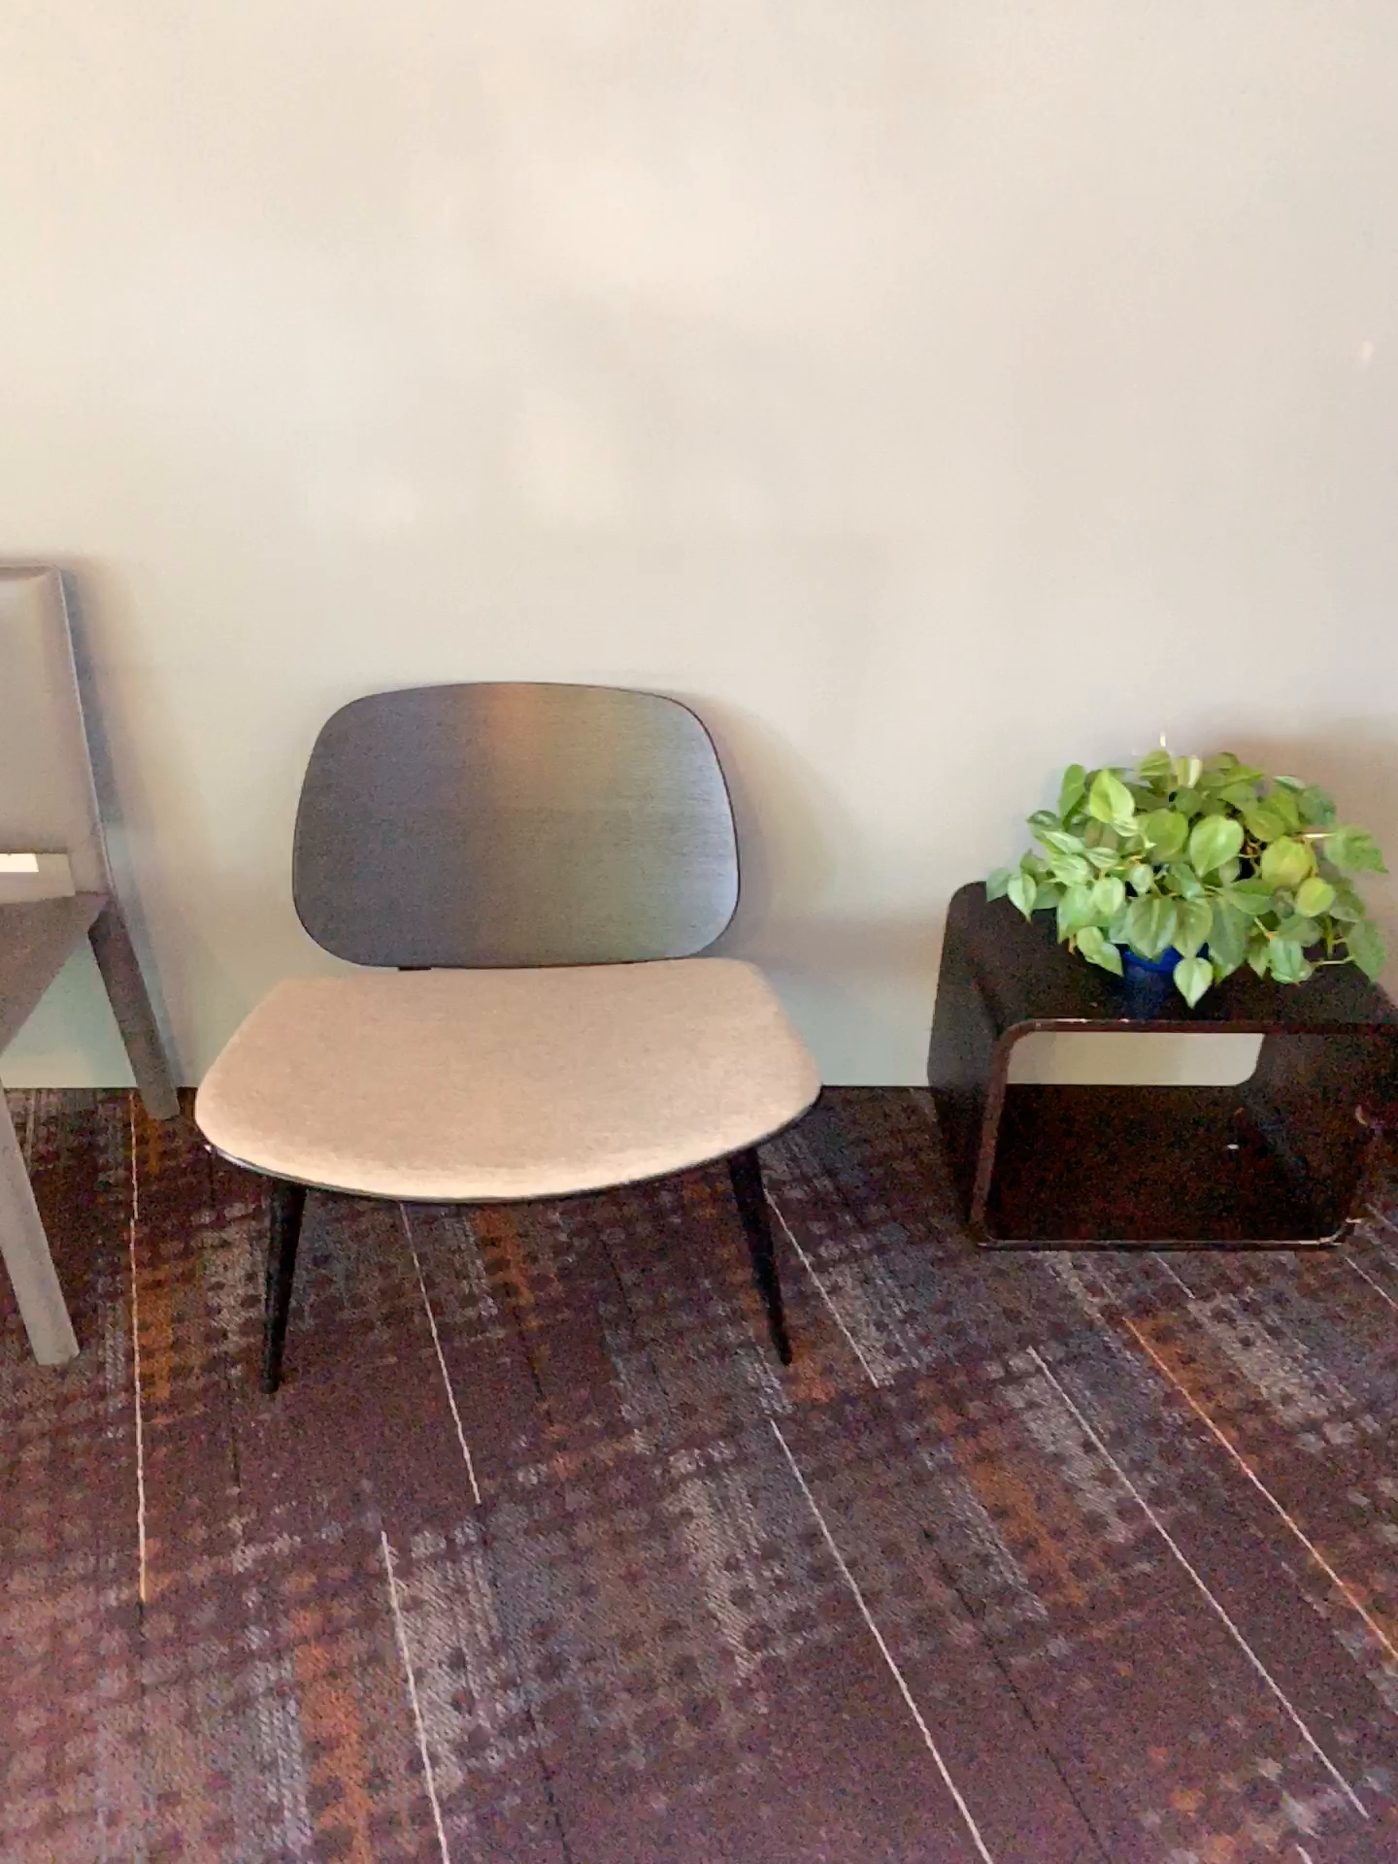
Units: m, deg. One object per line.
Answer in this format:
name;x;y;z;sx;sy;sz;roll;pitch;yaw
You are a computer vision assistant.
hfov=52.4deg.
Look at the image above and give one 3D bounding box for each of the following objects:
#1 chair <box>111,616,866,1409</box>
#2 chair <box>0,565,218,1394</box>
chair;-0.251;0.080;2.017;0.790;0.835;0.714;-2;31;-5
chair;-1.104;0.032;1.891;0.640;0.835;0.694;-2;31;-5
